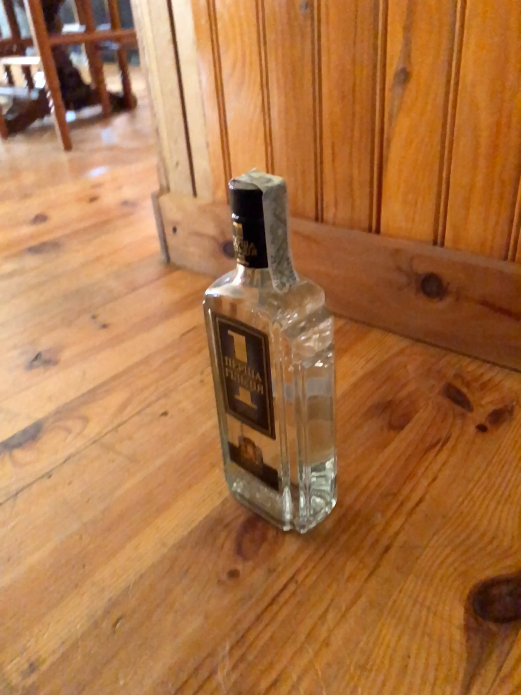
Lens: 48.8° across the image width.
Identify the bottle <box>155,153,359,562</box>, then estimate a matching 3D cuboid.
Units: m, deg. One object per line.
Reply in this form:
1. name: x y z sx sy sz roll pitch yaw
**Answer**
1. bottle: 0.005 0.012 0.379 0.060 0.249 0.100 -30 39 -34
